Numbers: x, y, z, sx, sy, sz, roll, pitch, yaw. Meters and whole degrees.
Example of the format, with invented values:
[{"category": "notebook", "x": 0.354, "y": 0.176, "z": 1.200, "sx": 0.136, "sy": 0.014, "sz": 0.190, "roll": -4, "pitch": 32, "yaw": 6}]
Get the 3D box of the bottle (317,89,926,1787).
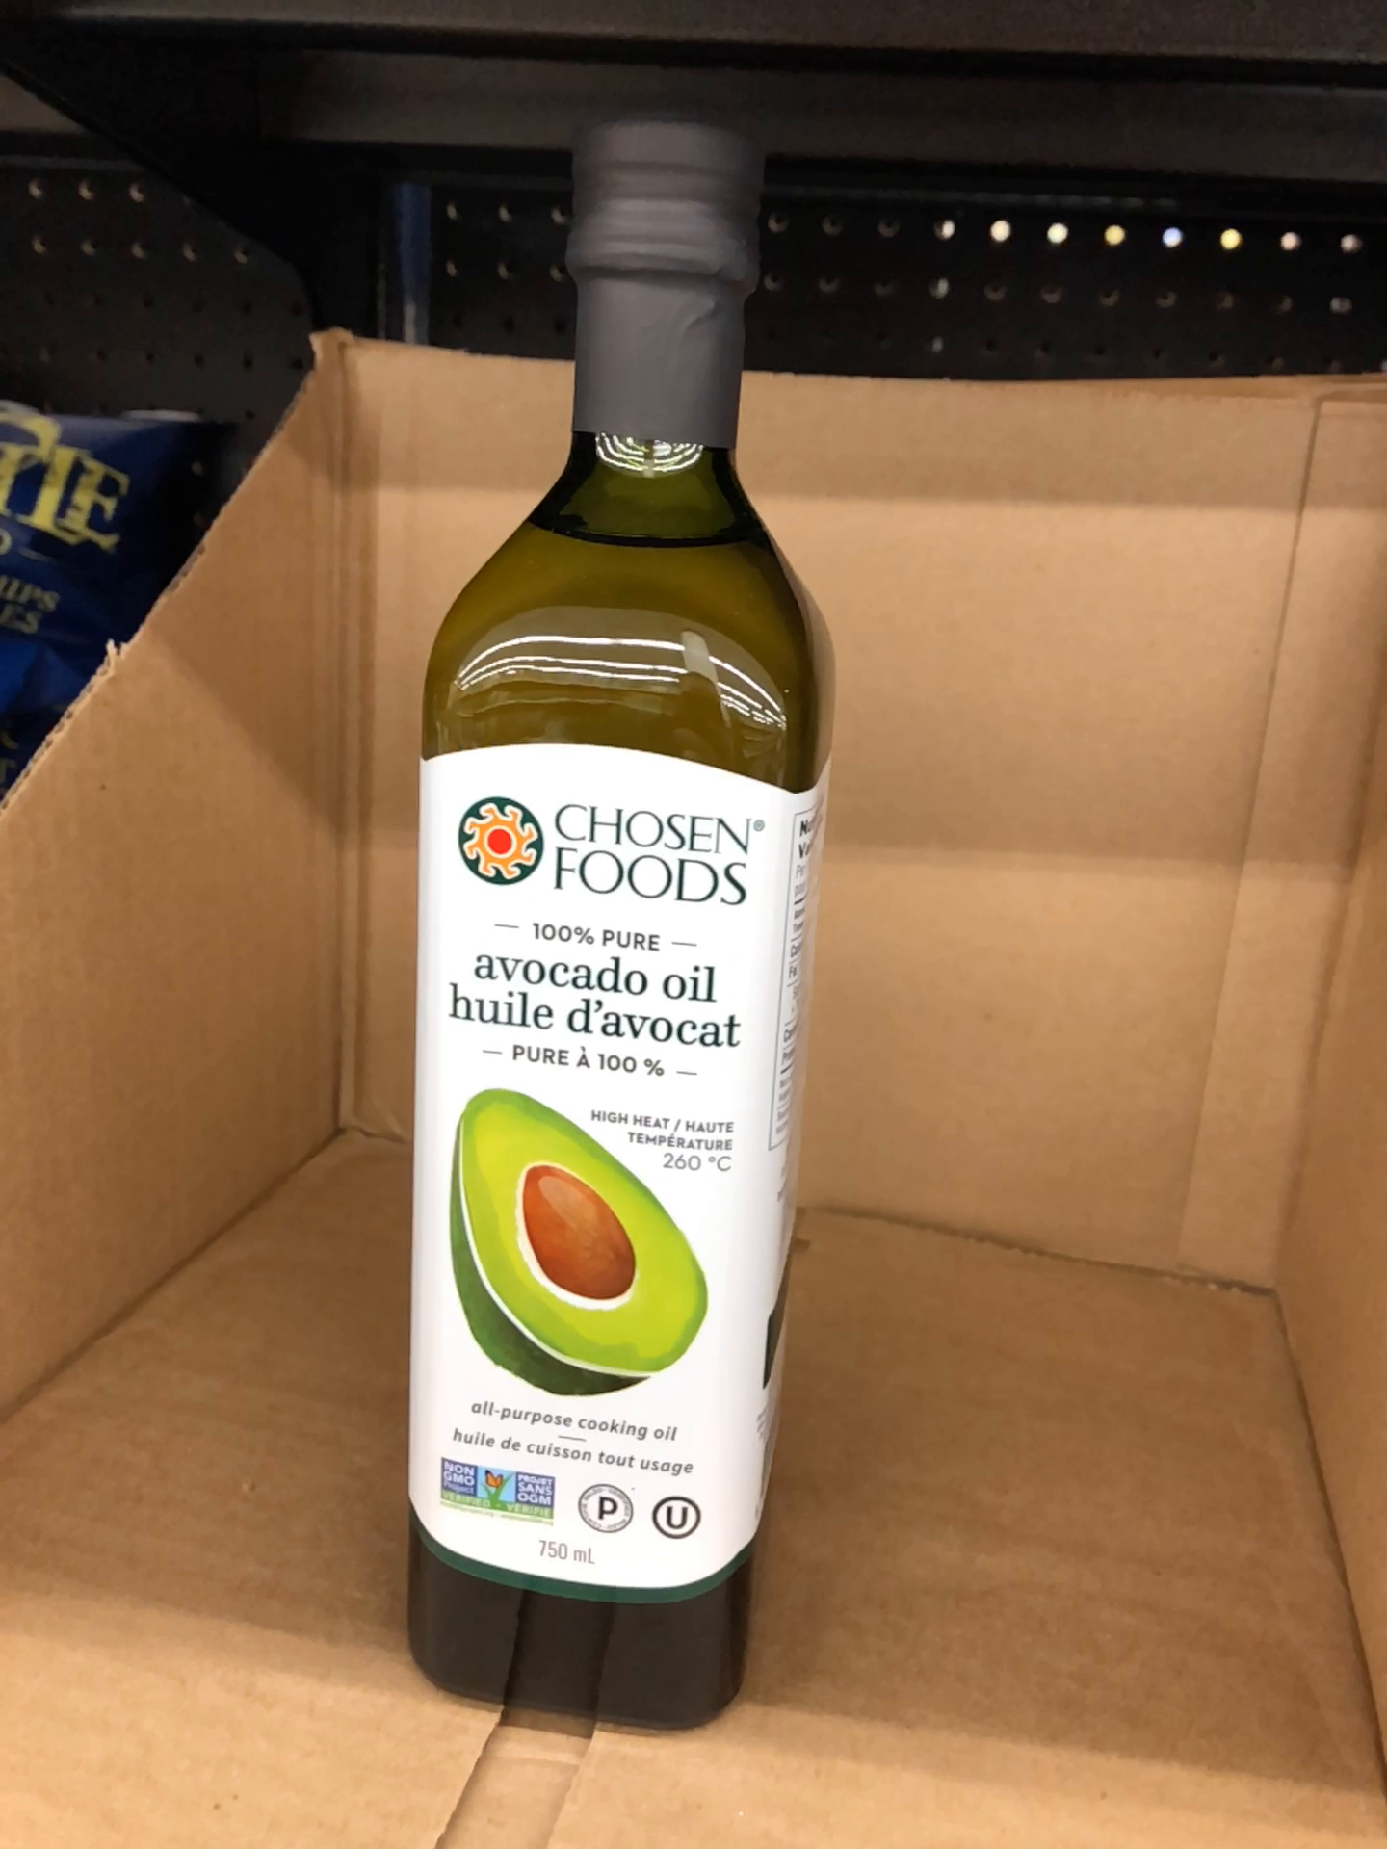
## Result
[{"category": "bottle", "x": -0.015, "y": 0.014, "z": 0.307, "sx": 0.090, "sy": 0.308, "sz": 0.070, "roll": 6, "pitch": 18, "yaw": 8}]
